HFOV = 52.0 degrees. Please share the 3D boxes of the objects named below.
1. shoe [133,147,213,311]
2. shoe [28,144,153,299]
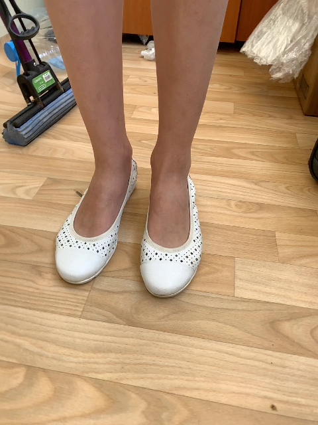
[{"bbox_3d":[0.026,0.005,0.490,0.090,0.070,0.271,3,43,3],"label":"shoe"},{"bbox_3d":[-0.089,-0.005,0.528,0.100,0.070,0.271,8,43,9],"label":"shoe"}]
